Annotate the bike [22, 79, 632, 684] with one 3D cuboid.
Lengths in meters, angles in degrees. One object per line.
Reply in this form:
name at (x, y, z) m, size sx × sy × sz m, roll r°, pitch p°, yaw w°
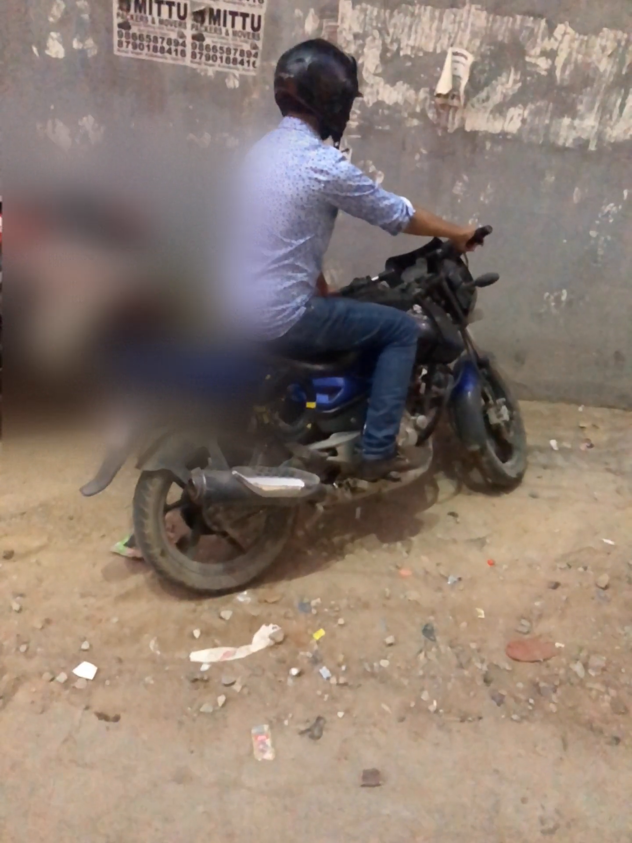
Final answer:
bike at (0.080, -0.276, 2.338) m, size 1.508 × 1.112 × 1.094 m, roll -26°, pitch 46°, yaw -32°
